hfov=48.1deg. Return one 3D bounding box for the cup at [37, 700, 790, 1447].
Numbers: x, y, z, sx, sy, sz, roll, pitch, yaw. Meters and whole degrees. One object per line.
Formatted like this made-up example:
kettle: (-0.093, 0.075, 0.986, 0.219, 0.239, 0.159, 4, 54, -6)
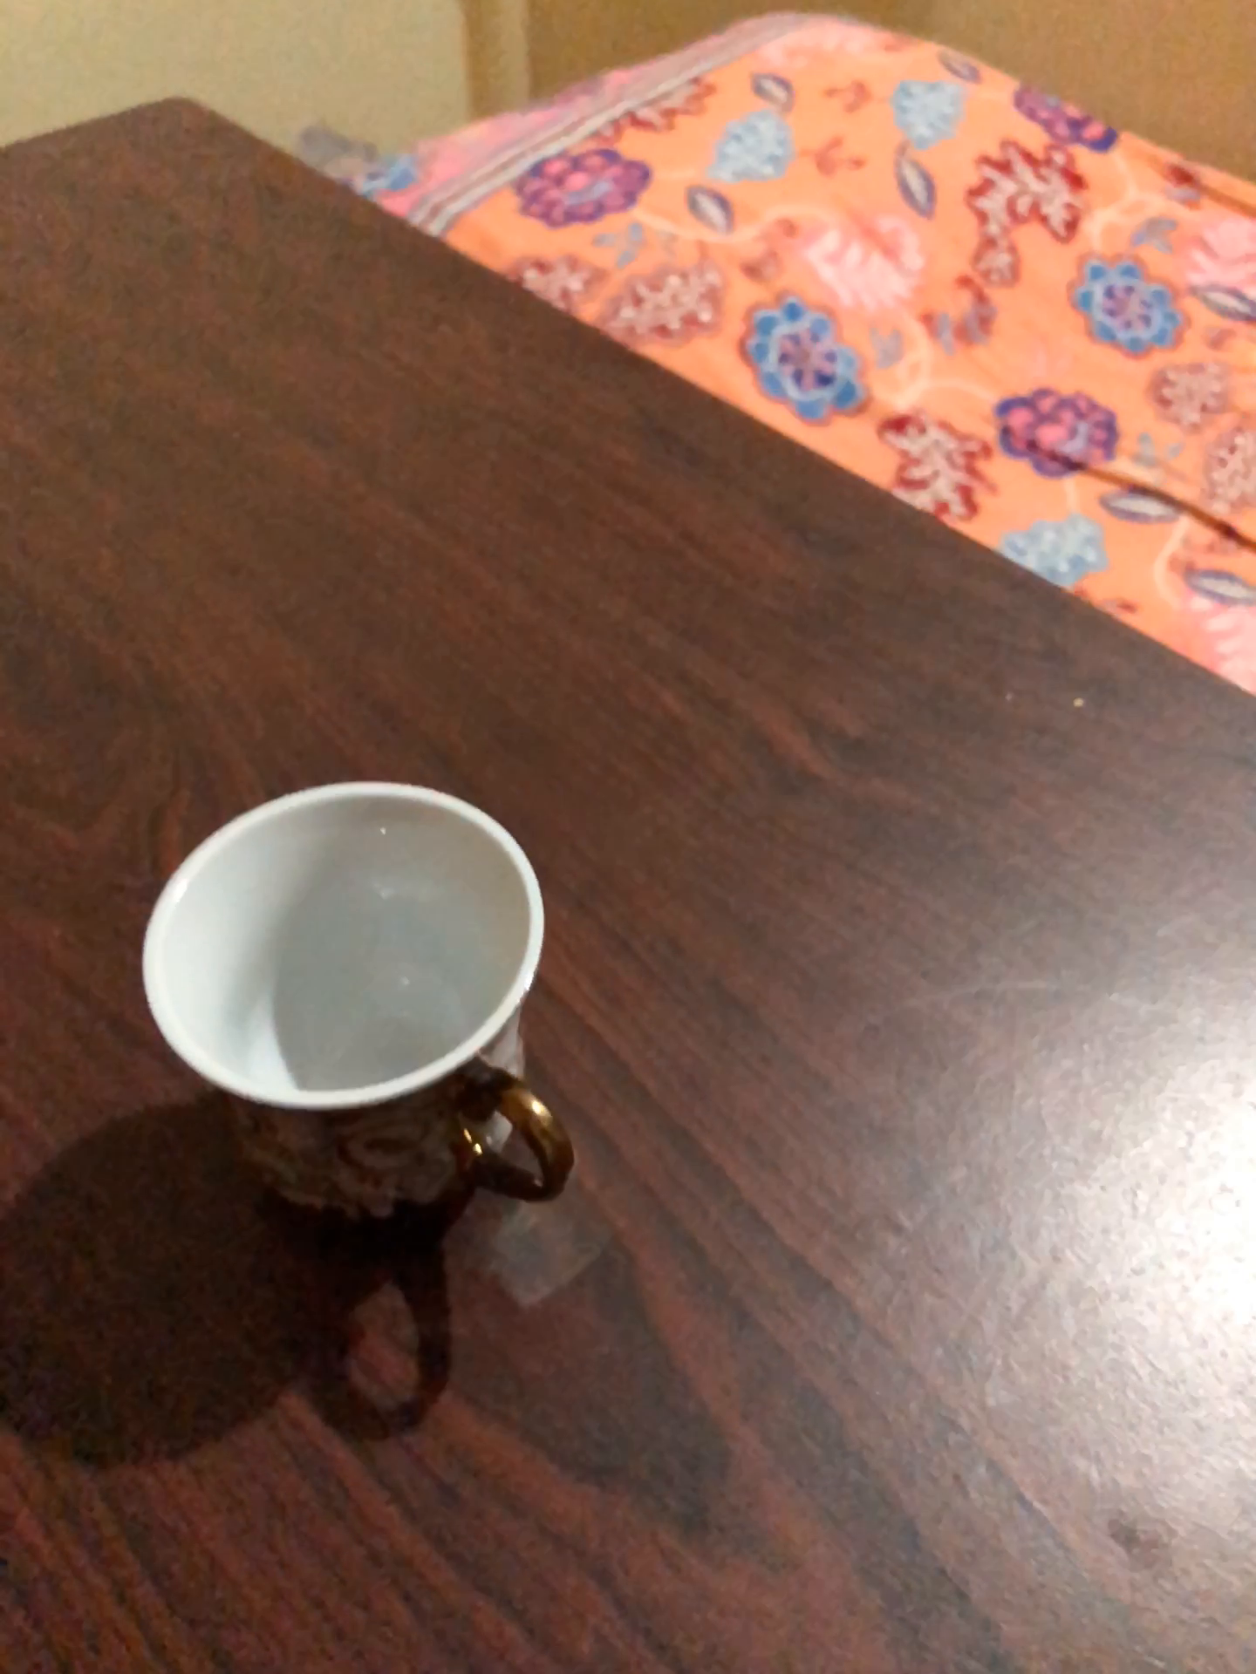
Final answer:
cup: (-0.033, 0.034, 0.231, 0.090, 0.050, 0.070, 32, 54, 25)
